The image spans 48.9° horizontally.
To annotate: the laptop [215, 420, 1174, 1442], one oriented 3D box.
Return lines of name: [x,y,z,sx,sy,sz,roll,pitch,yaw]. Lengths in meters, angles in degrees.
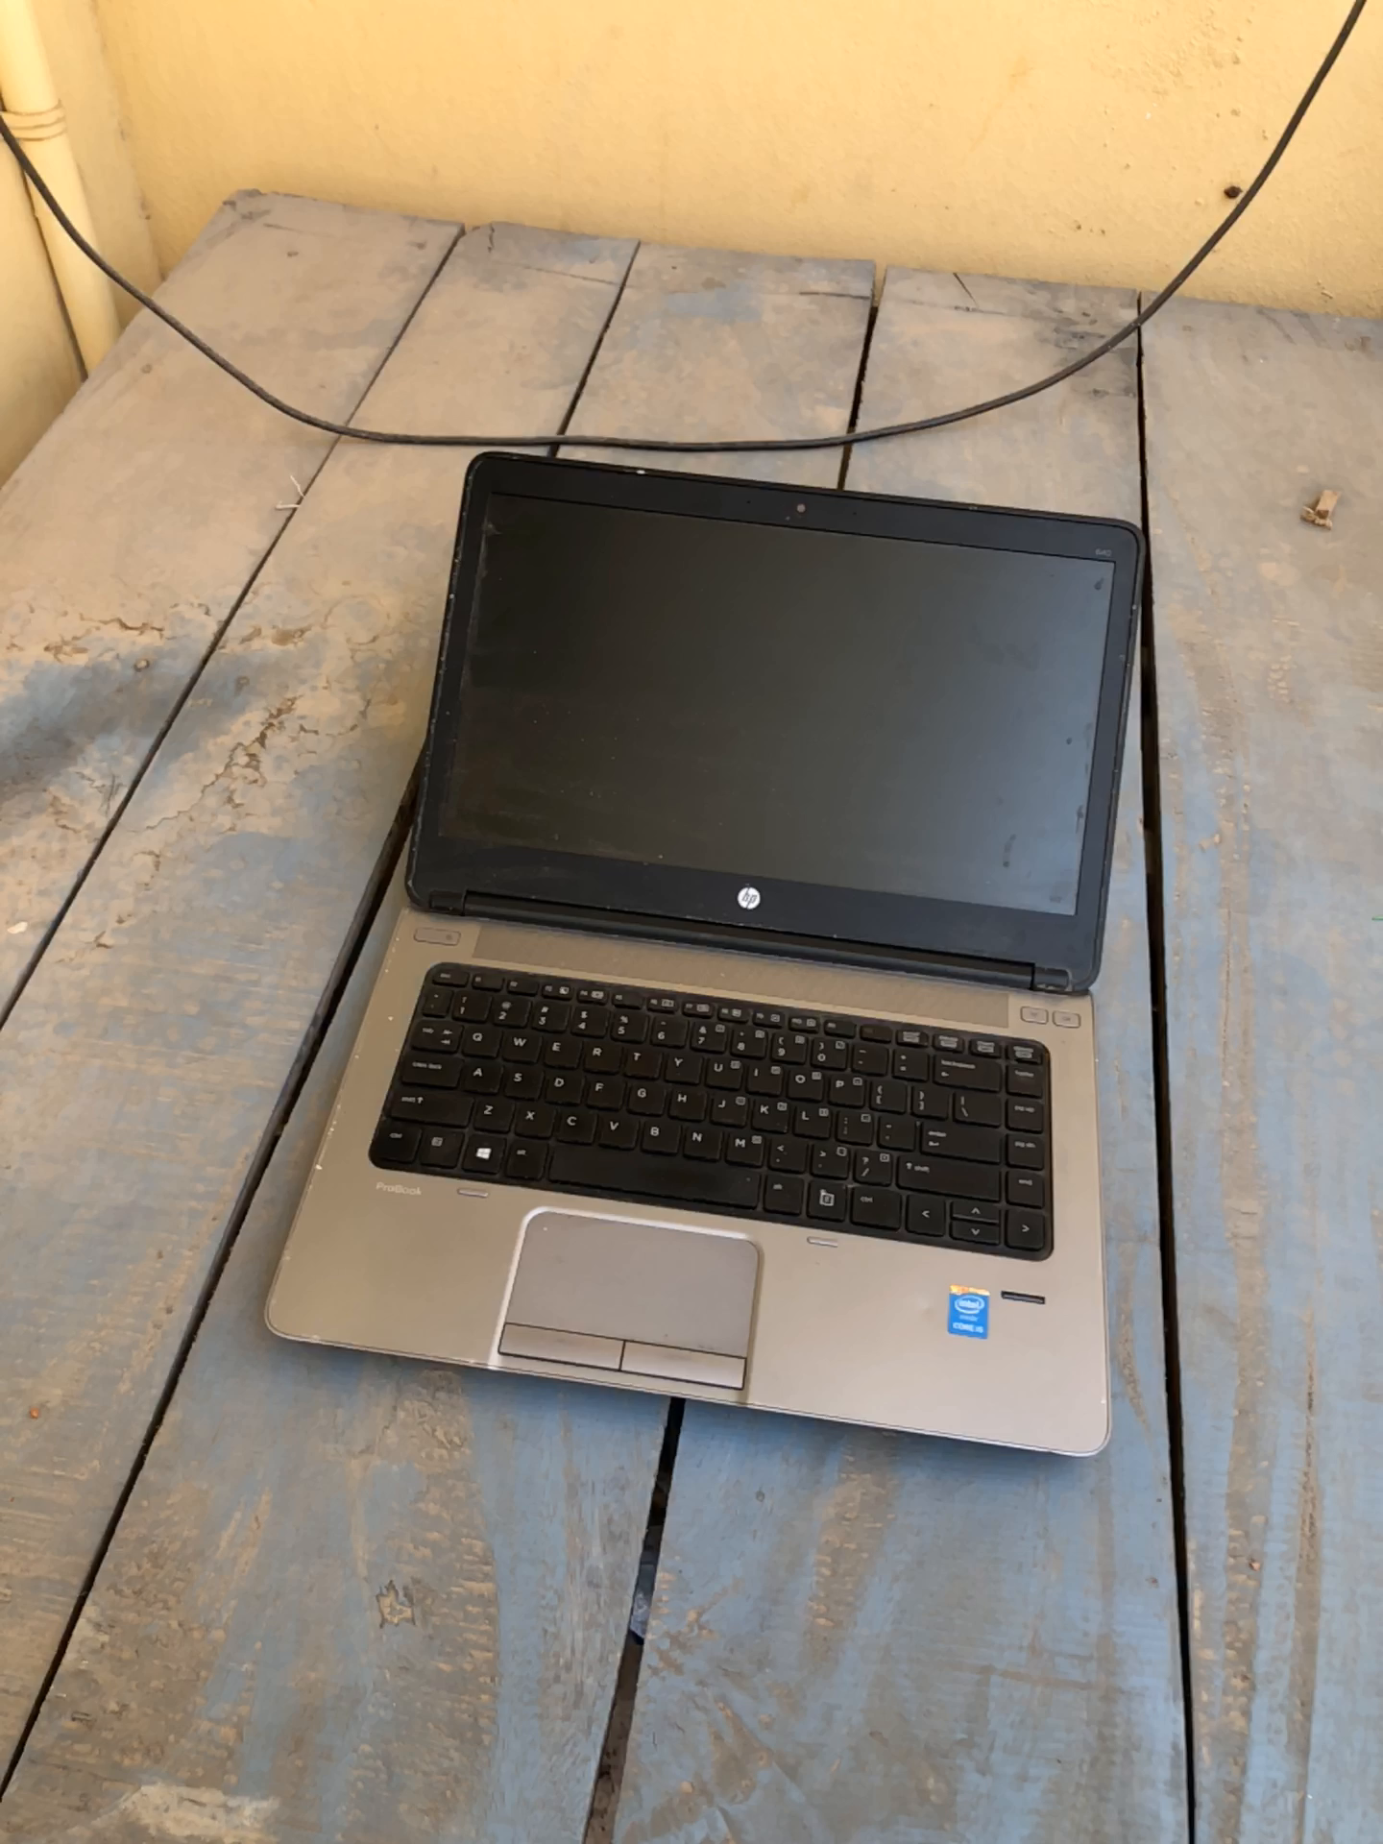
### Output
laptop: [0.026,-0.025,0.642,0.306,0.123,0.390,8,53,5]
